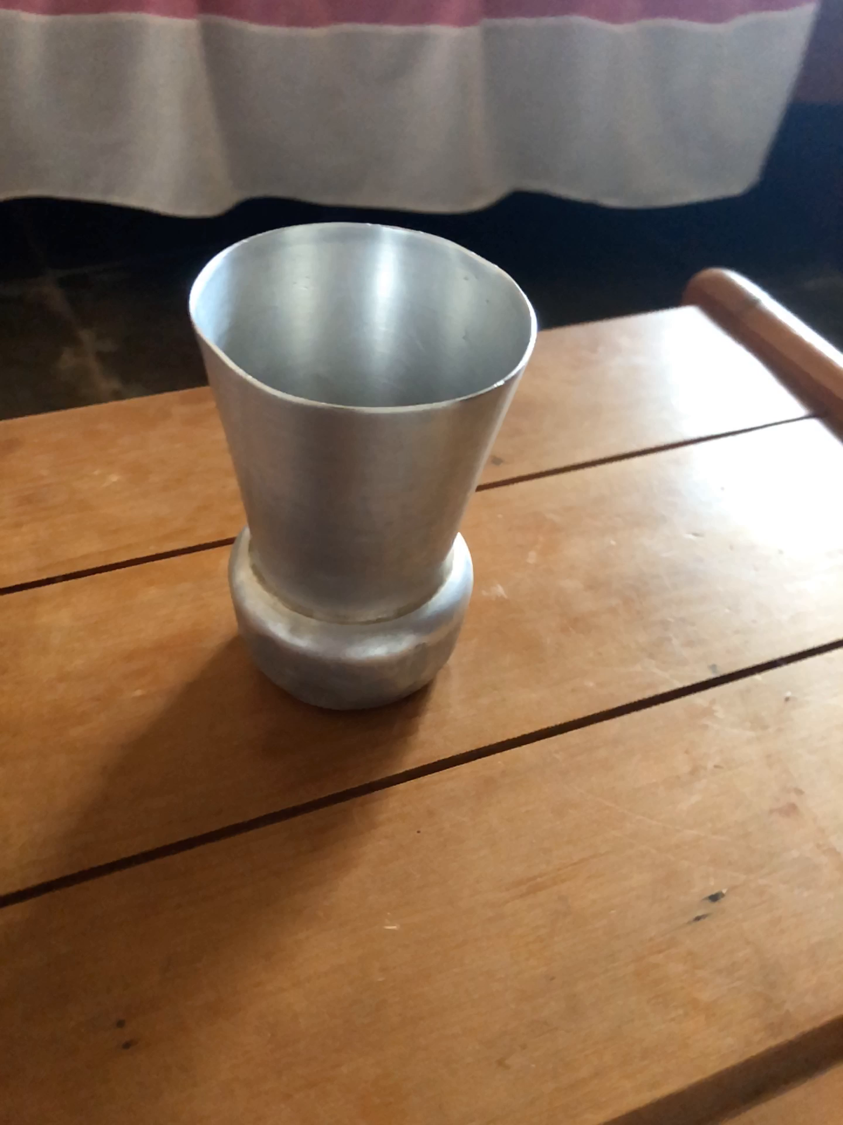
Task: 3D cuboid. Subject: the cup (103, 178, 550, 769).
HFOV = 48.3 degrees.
[{"bbox_3d":[-0.025,-0.020,0.227,0.070,0.109,0.070,2,43,-2],"label":"cup"}]
